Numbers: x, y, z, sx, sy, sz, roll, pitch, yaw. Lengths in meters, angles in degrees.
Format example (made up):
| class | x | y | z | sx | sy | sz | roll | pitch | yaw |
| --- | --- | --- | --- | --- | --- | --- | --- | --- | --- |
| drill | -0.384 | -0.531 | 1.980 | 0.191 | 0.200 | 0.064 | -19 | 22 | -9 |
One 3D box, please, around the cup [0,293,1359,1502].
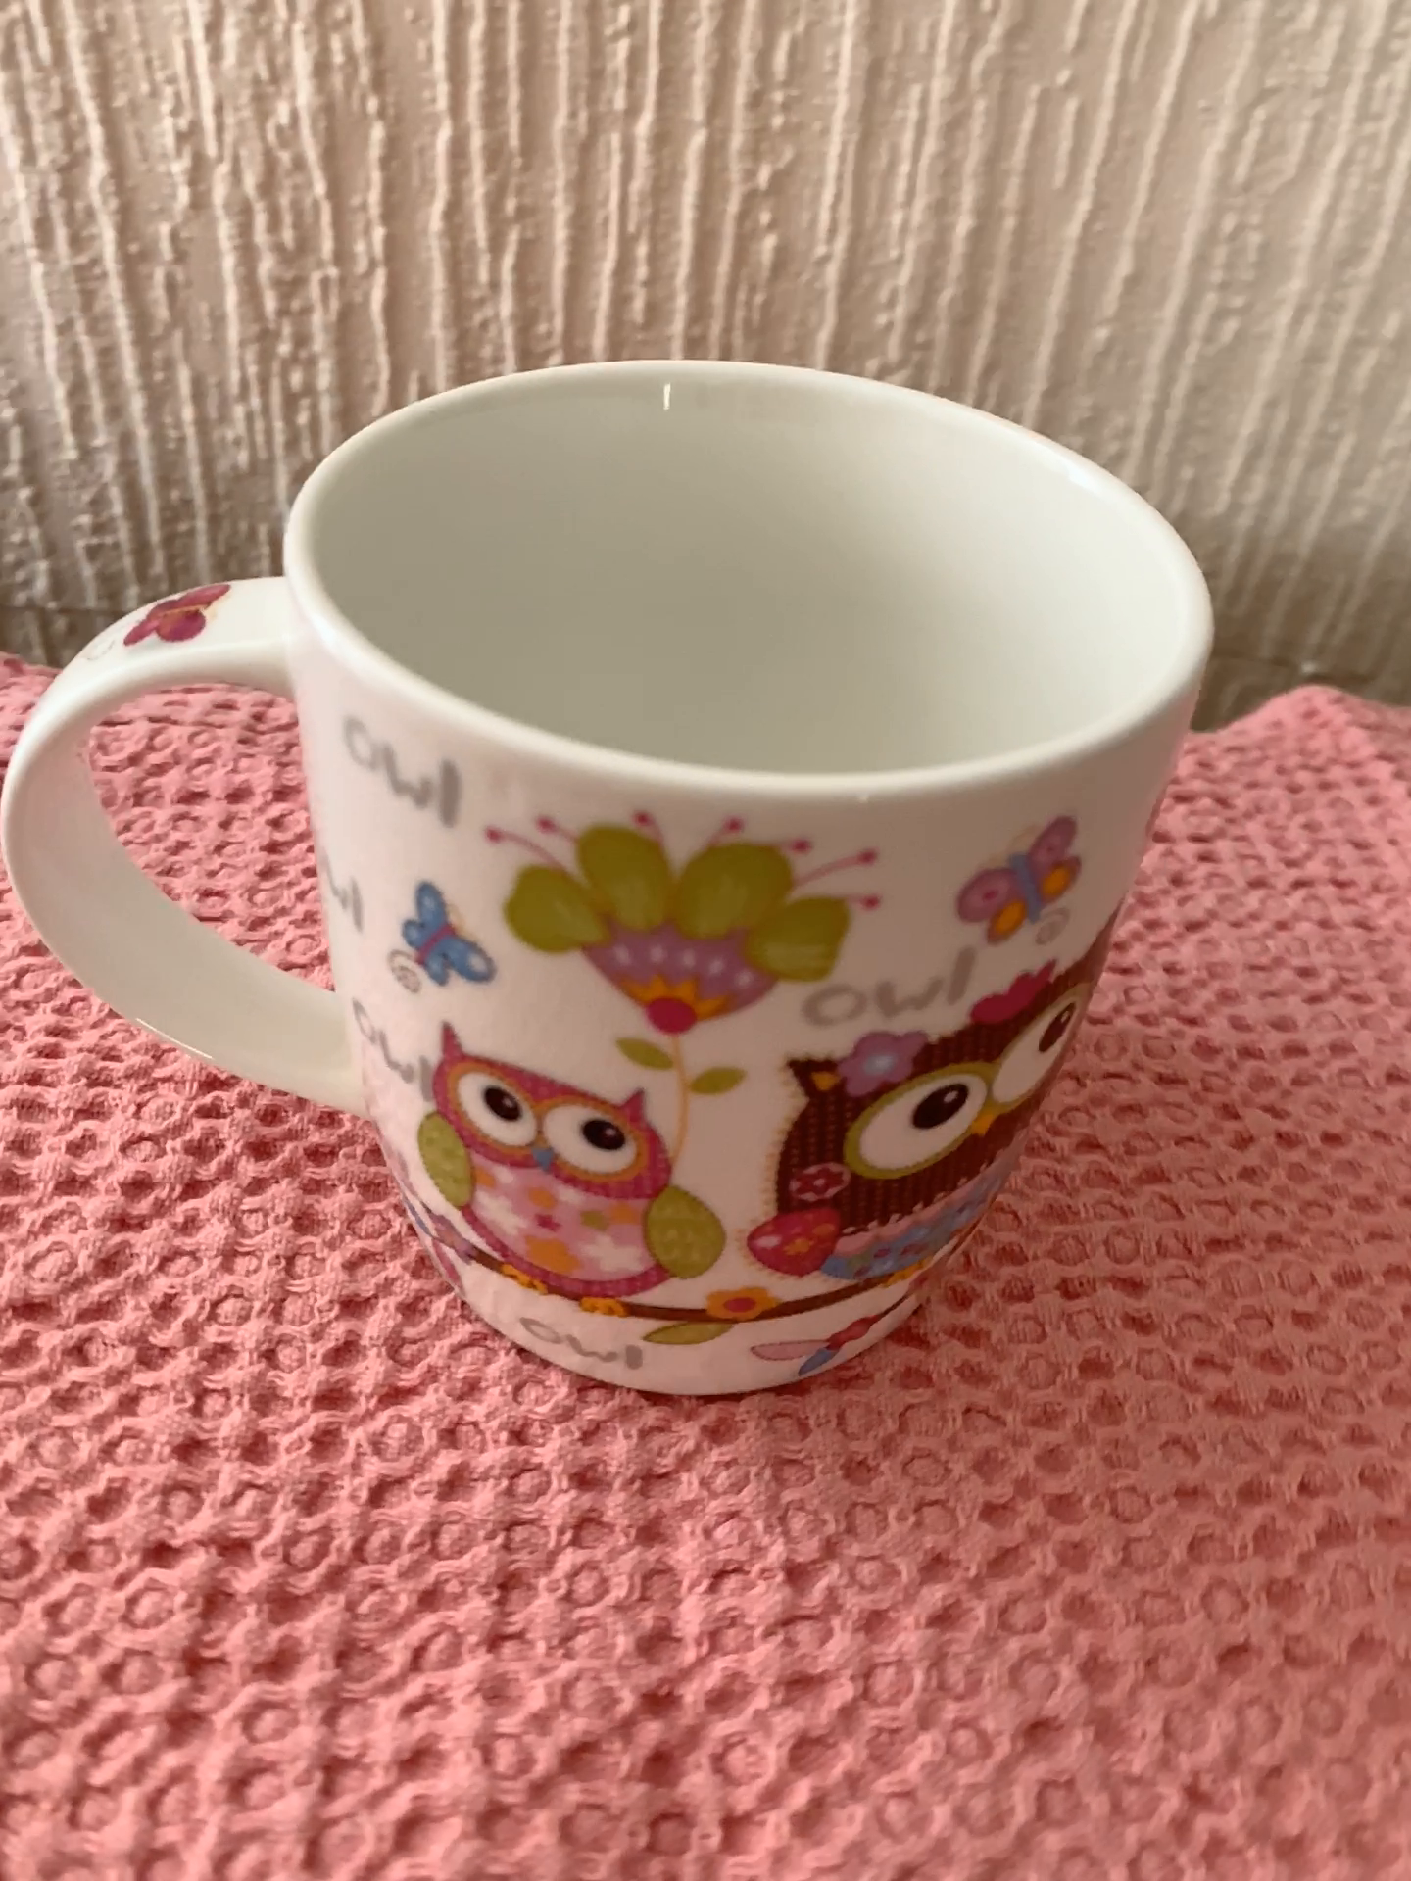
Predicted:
| class | x | y | z | sx | sy | sz | roll | pitch | yaw |
| --- | --- | --- | --- | --- | --- | --- | --- | --- | --- |
| cup | -0.015 | -0.006 | 0.167 | 0.120 | 0.089 | 0.091 | 5 | 41 | -2 |
